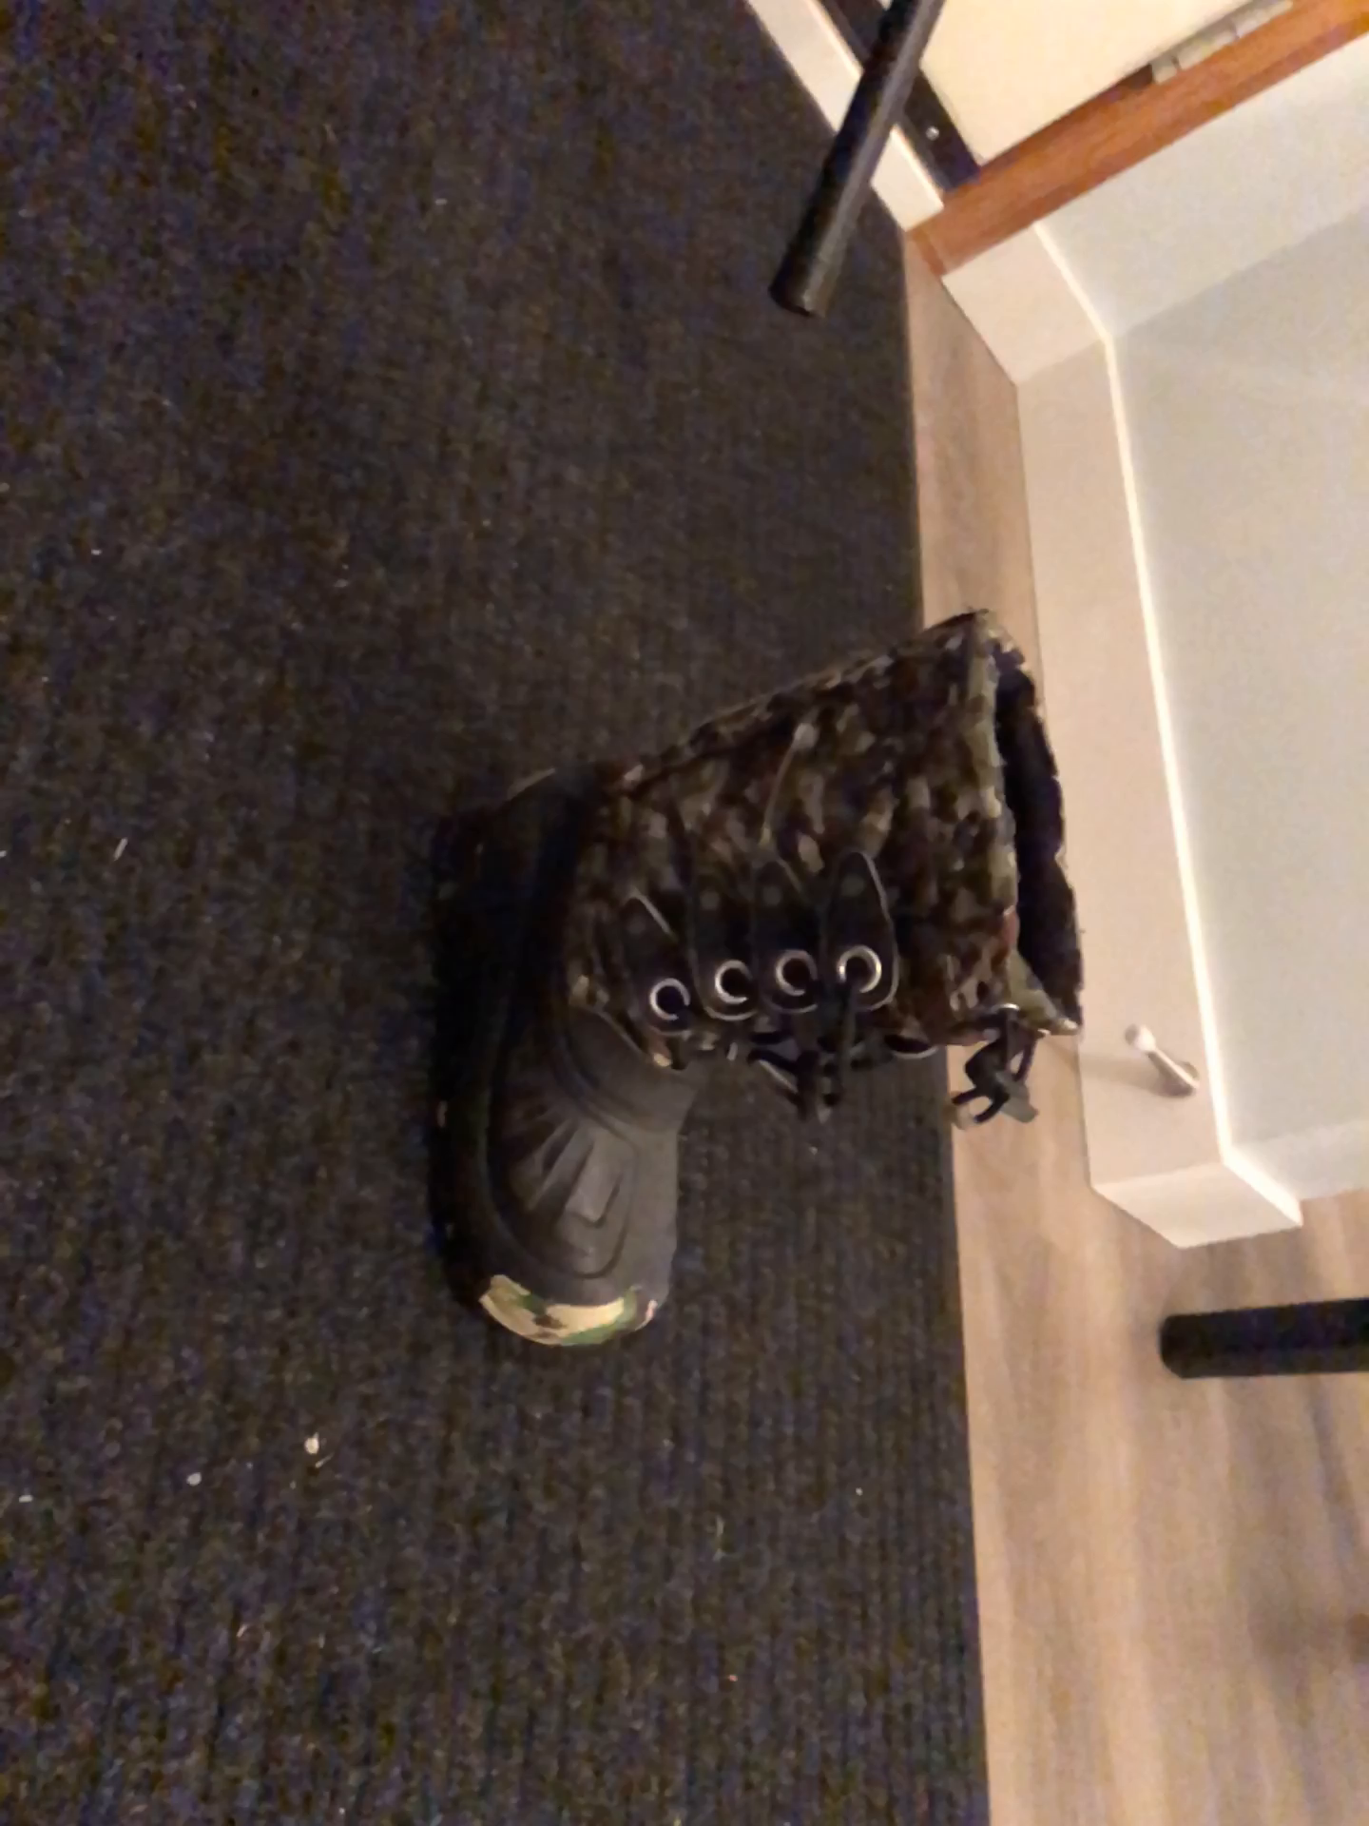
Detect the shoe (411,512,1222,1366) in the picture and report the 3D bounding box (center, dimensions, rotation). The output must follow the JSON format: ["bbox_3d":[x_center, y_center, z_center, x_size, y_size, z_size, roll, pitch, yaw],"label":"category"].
[{"bbox_3d":[0.027,0.024,0.477,0.101,0.209,0.200,22,55,-50],"label":"shoe"}]
